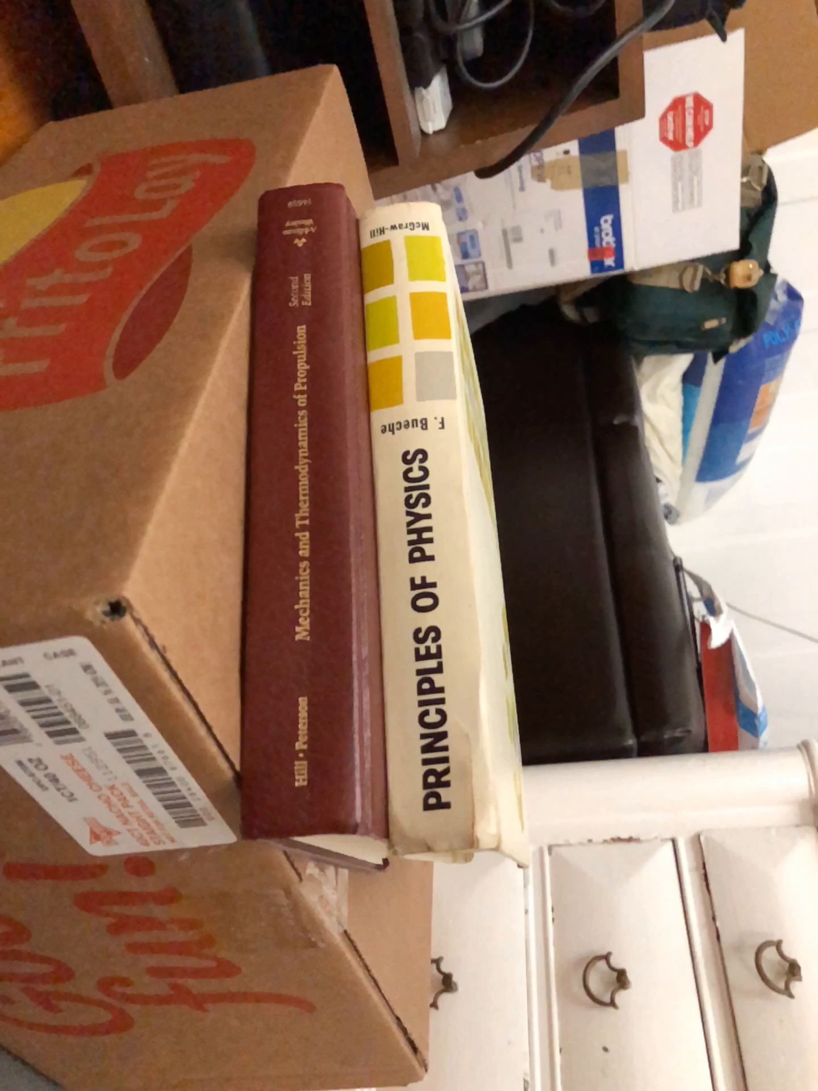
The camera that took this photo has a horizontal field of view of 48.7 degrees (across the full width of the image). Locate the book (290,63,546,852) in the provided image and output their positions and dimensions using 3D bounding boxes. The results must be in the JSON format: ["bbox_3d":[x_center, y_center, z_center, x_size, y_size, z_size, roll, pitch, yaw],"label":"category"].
[{"bbox_3d":[0.008,-0.018,0.353,0.180,0.040,0.250,57,26,-65],"label":"book"}]

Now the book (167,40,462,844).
[{"bbox_3d":[-0.027,-0.026,0.350,0.180,0.040,0.250,60,23,-63],"label":"book"}]
